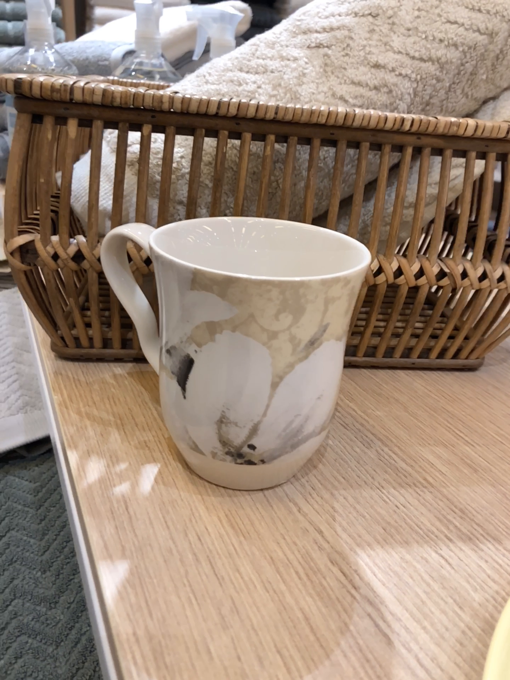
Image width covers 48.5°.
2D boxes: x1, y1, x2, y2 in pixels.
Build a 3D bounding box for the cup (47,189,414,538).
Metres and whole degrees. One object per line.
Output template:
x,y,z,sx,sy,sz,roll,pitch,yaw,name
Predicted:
-0.016,-0.004,0.262,0.130,0.099,0.090,23,30,34,cup
